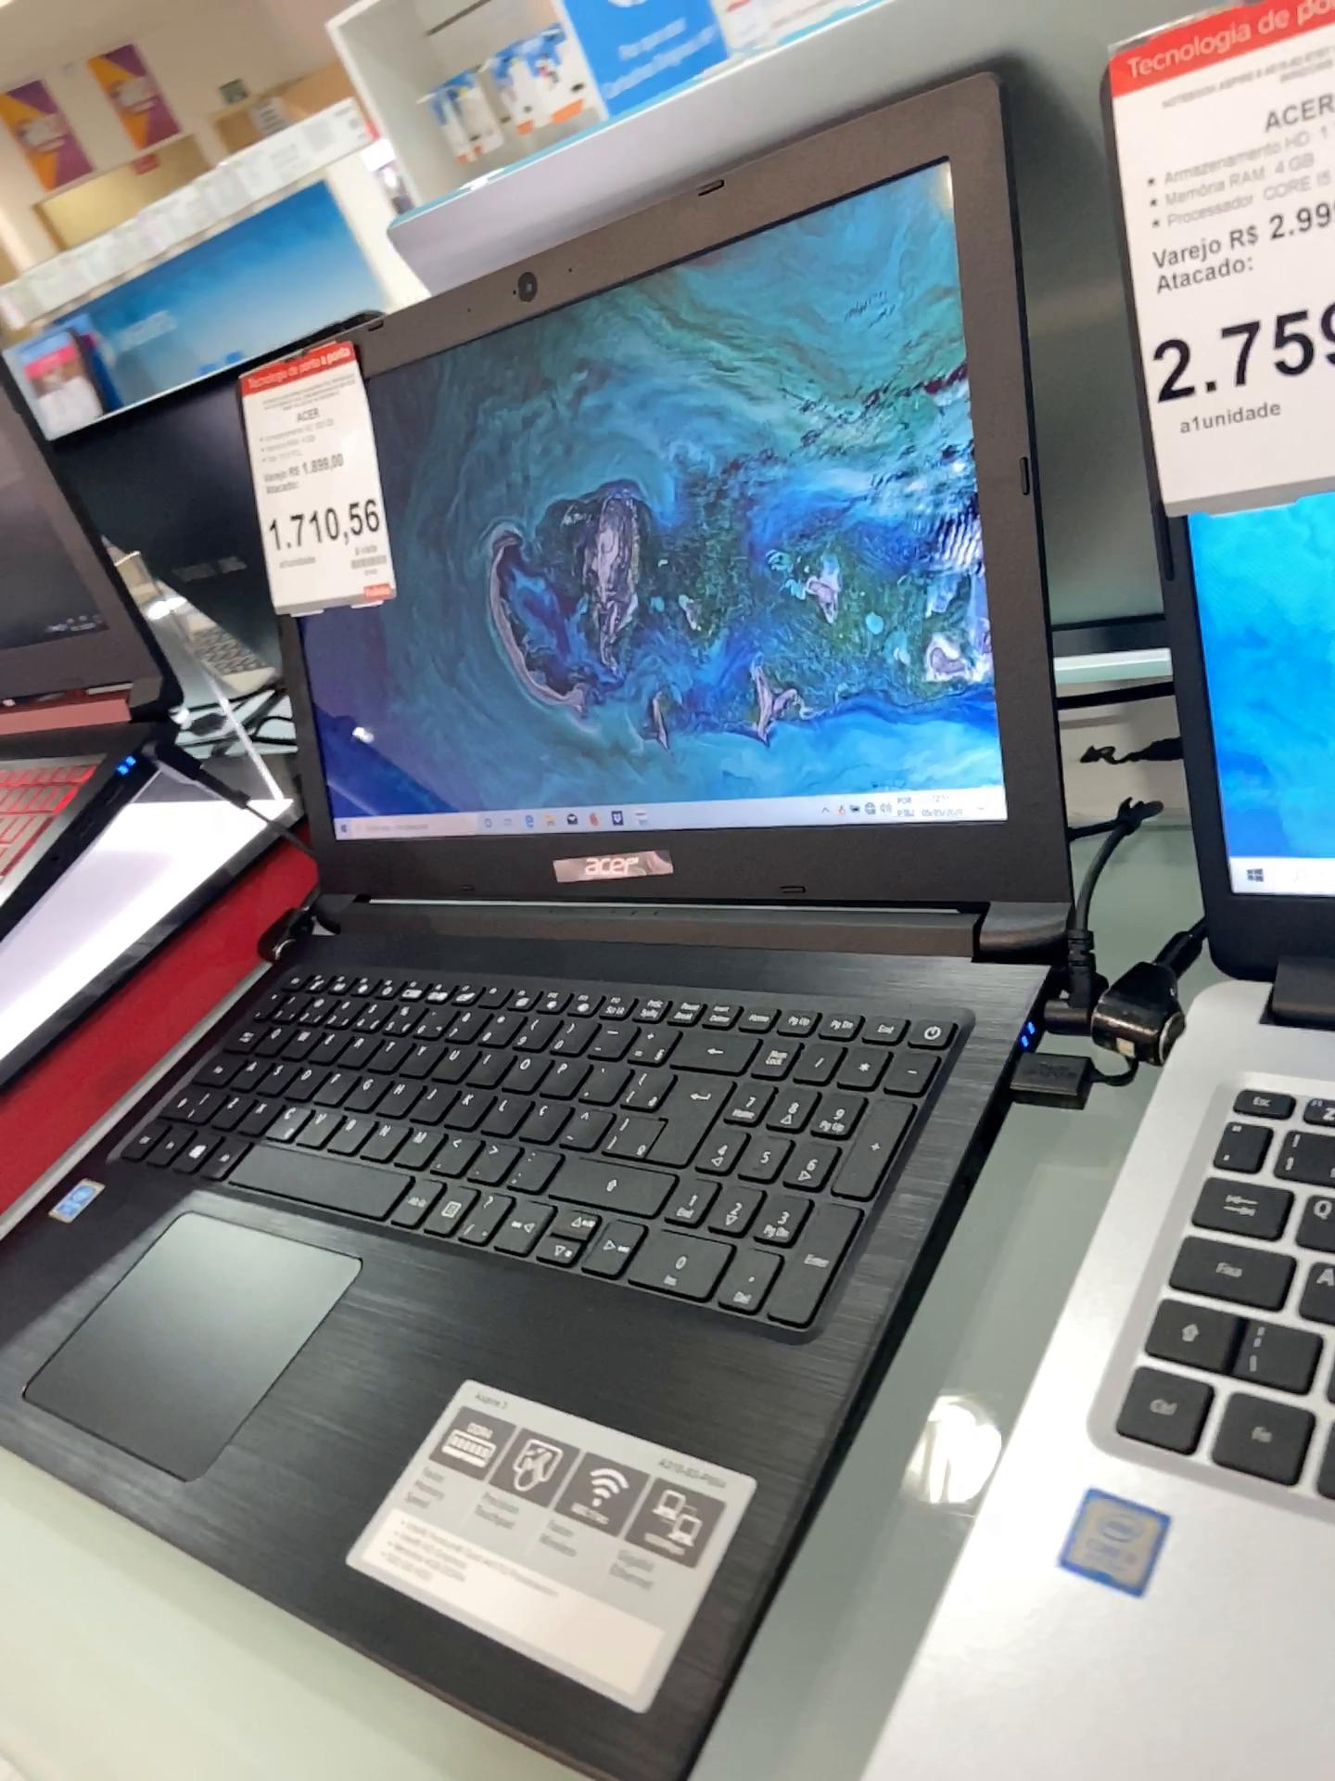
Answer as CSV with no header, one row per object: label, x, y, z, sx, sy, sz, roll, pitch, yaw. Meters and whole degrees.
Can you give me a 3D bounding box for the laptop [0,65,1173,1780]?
laptop,-0.099,-0.029,0.451,0.378,0.216,0.381,0,40,40
